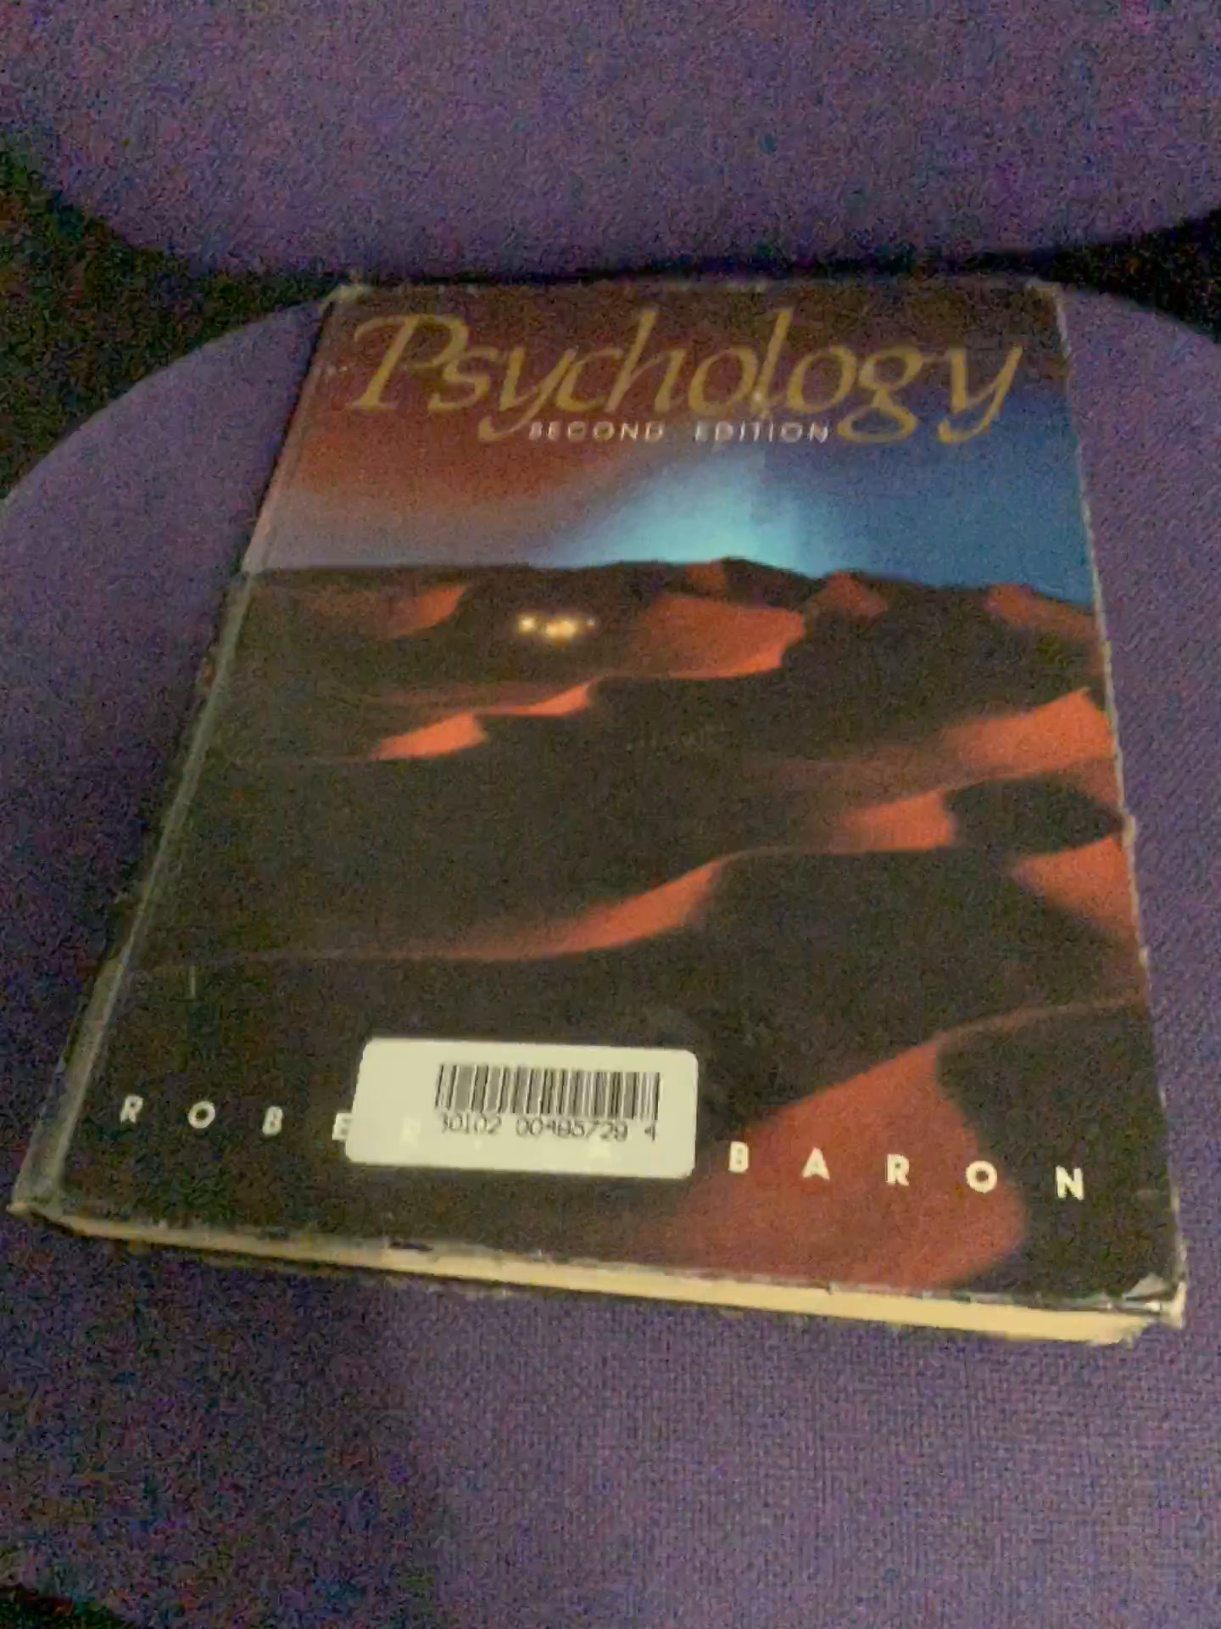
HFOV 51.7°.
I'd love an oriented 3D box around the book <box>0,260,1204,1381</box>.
[{"bbox_3d":[0.001,-0.028,0.310,0.230,0.040,0.281,3,60,7],"label":"book"}]
